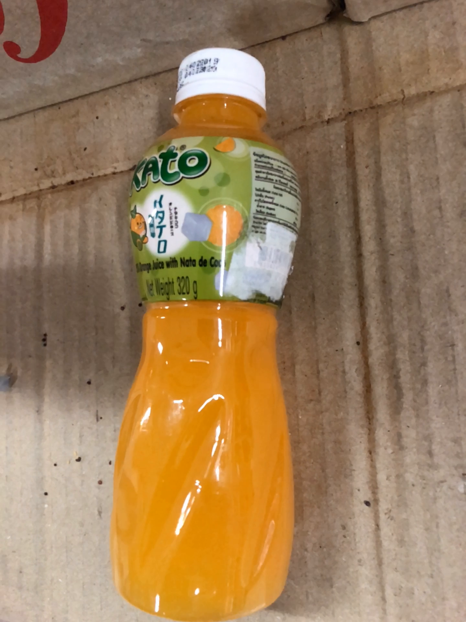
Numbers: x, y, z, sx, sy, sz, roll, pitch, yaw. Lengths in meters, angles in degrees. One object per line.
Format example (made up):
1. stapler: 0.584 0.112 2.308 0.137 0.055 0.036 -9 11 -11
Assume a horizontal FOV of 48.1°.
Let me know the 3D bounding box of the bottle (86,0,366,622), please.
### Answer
1. bottle: 0.002 -0.002 0.179 0.070 0.060 0.190 0 86 26
